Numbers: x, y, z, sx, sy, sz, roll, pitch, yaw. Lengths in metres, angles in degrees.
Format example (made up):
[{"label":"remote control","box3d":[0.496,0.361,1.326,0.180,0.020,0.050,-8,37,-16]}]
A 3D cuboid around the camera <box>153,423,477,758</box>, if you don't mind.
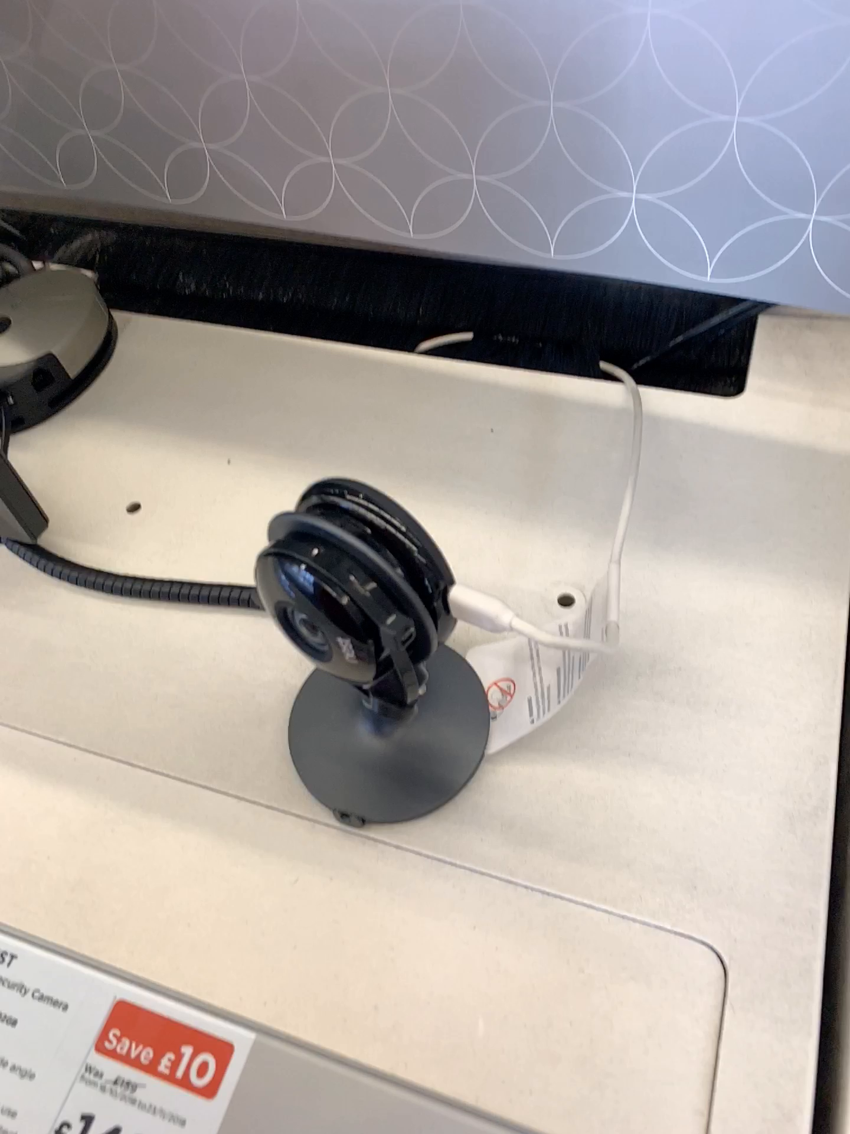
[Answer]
[{"label":"camera","box3d":[-0.026,0.005,0.235,0.060,0.050,0.050,29,62,26]}]
